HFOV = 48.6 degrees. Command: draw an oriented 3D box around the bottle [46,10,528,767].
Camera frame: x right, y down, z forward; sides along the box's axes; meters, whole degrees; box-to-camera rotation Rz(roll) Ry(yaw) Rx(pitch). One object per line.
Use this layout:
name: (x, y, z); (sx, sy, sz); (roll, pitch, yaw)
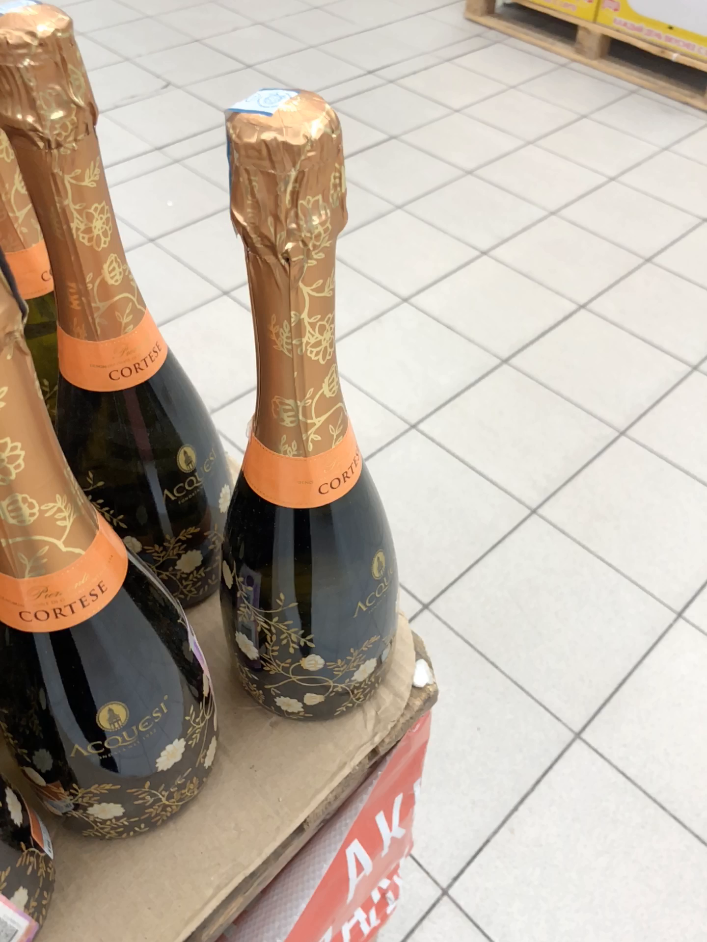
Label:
bottle: (-0.021, -0.002, 0.344); (0.100, 0.318, 0.100); (2, 48, -2)
